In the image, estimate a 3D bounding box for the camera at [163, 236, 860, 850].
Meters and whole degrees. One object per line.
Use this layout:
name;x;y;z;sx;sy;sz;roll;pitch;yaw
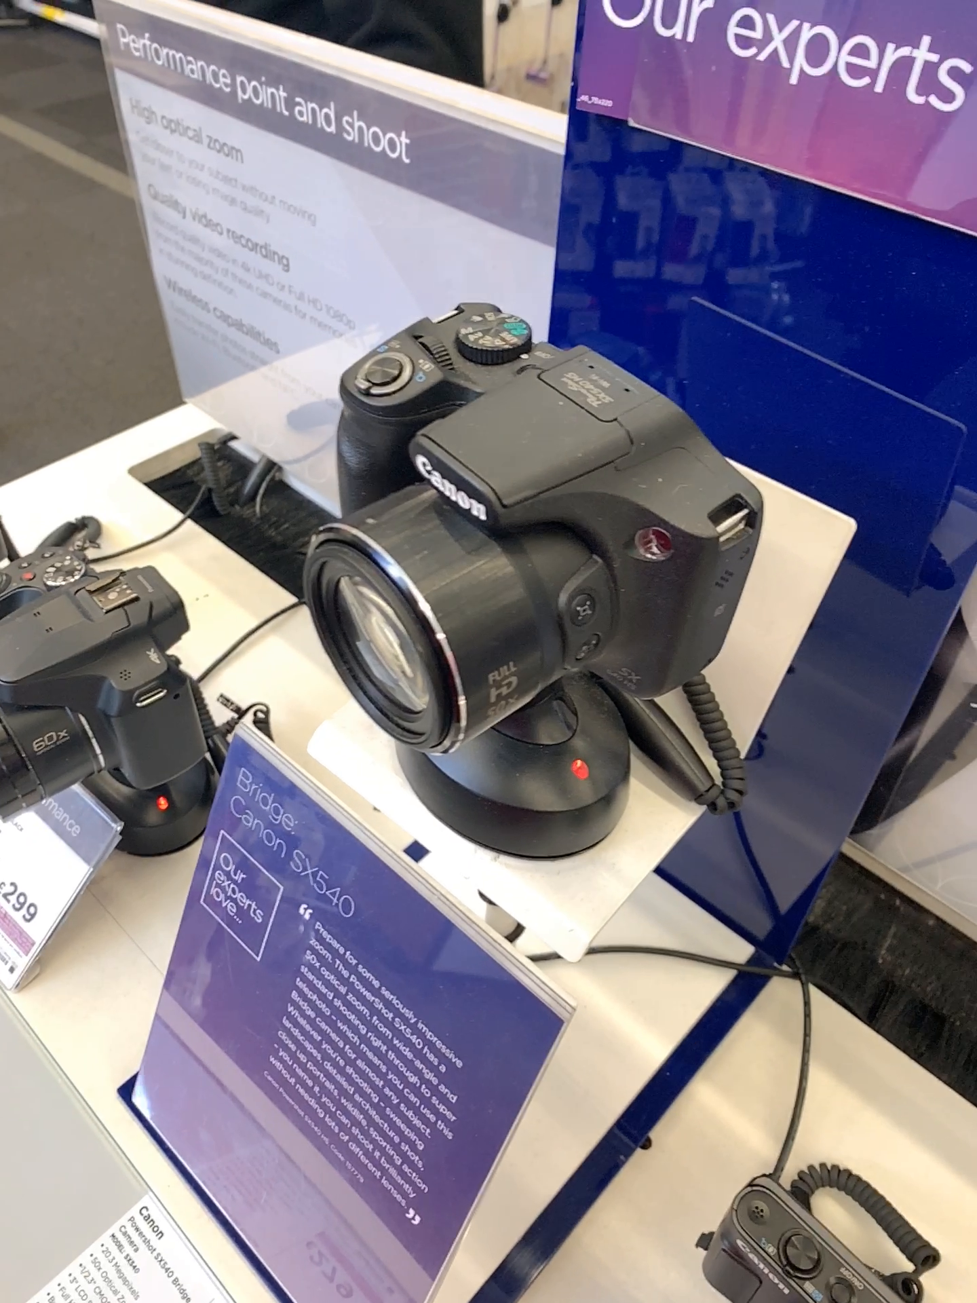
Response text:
camera;0.002;-0.038;0.259;0.110;0.069;0.121;-30;53;-28
